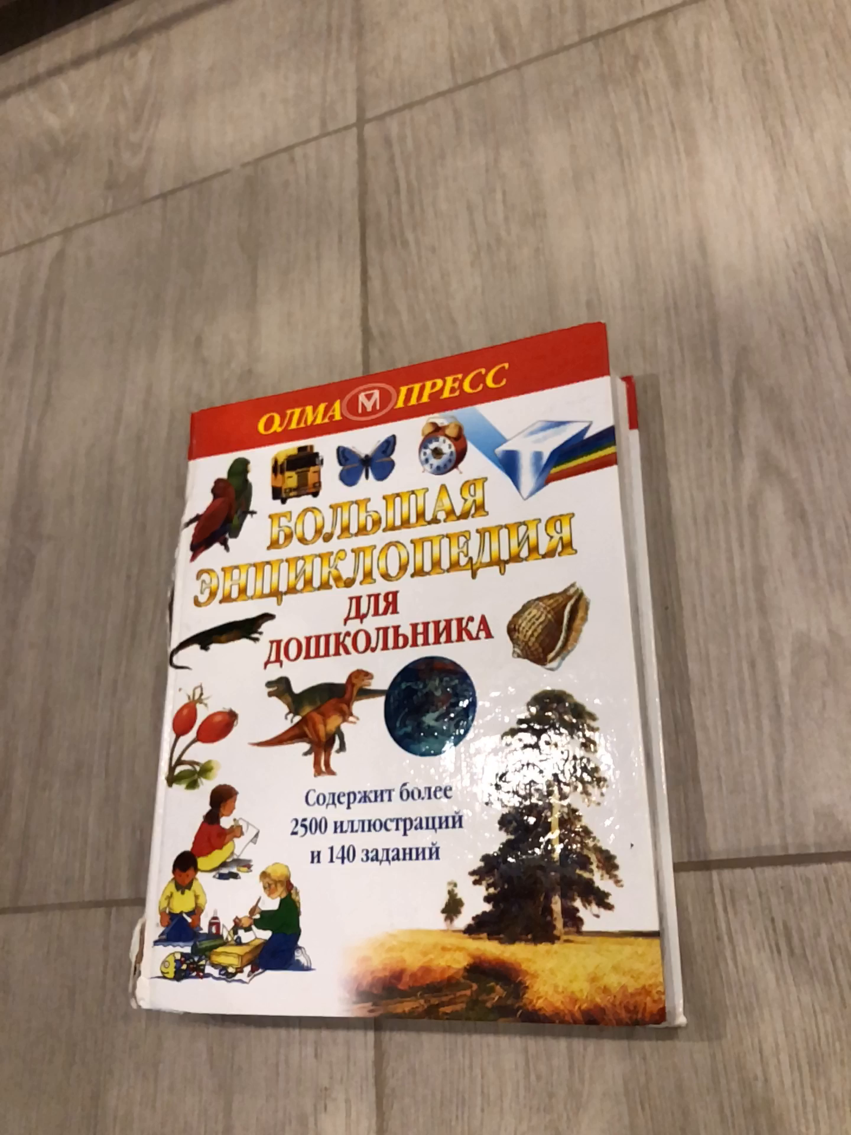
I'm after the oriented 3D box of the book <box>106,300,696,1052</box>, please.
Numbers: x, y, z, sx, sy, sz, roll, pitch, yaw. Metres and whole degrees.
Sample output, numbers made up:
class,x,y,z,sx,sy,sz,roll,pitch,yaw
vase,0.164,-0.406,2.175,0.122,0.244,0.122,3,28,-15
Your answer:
class,x,y,z,sx,sy,sz,roll,pitch,yaw
book,-0.012,0.043,0.405,0.216,0.060,0.281,-8,67,20
